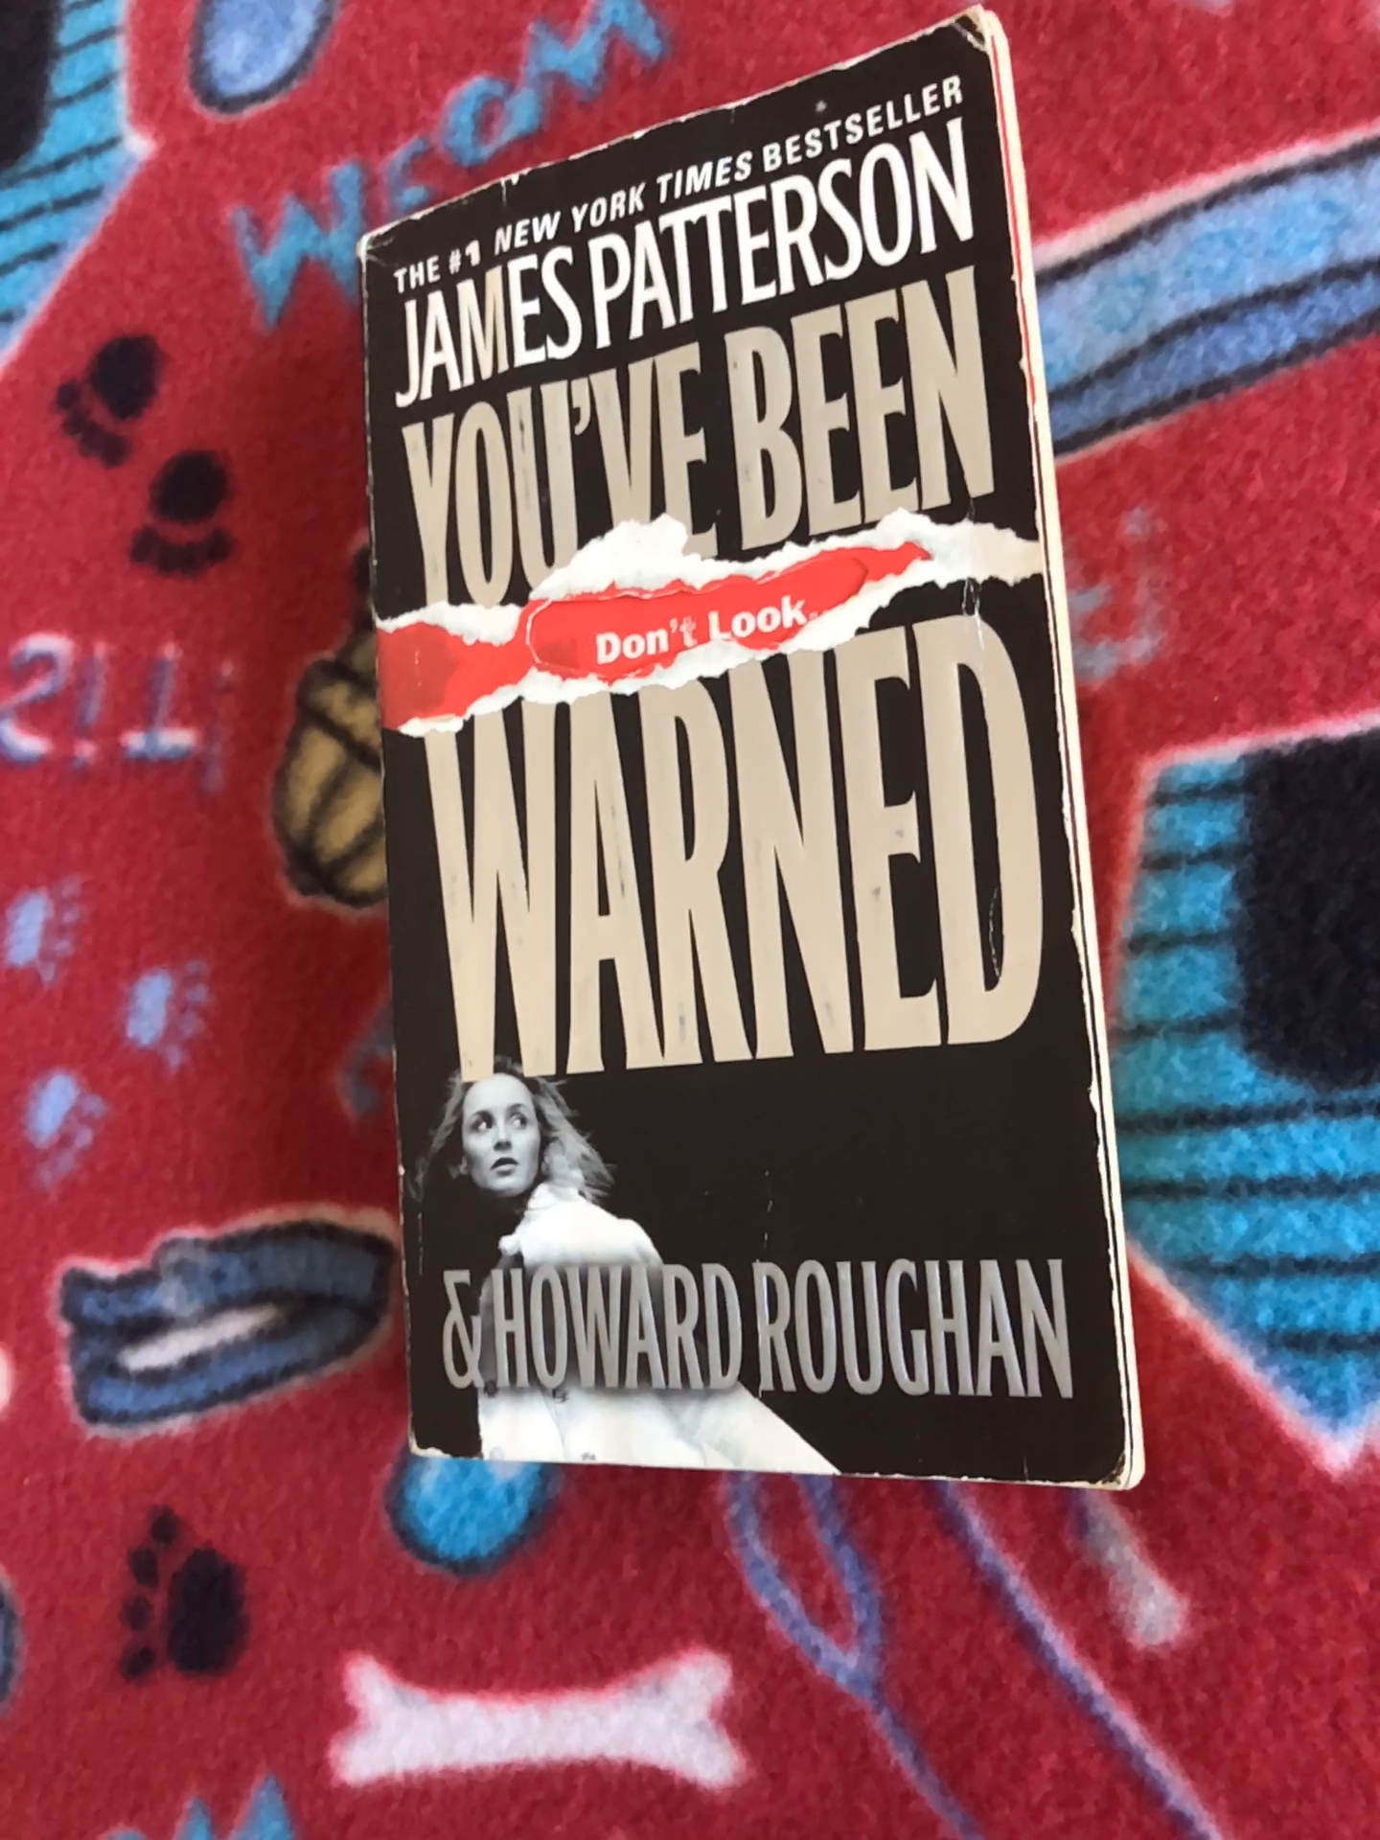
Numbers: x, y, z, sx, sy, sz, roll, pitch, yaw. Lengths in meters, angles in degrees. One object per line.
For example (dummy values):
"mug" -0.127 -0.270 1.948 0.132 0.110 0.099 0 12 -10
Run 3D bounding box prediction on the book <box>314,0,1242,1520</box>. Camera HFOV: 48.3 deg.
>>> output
"book" 0.010 -0.020 0.221 0.110 0.040 0.190 -6 87 23
